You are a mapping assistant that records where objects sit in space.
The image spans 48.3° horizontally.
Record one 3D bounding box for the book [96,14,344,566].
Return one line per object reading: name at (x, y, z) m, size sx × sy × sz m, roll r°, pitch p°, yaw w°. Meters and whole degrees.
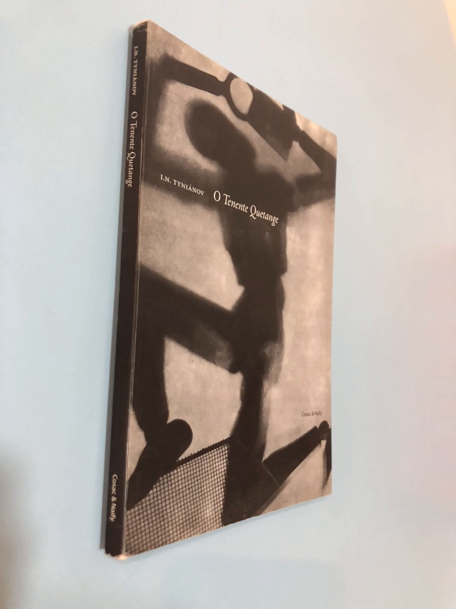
book at (0.009, -0.004, 0.234) m, size 0.135 × 0.016 × 0.196 m, roll 9°, pitch 81°, yaw -46°
